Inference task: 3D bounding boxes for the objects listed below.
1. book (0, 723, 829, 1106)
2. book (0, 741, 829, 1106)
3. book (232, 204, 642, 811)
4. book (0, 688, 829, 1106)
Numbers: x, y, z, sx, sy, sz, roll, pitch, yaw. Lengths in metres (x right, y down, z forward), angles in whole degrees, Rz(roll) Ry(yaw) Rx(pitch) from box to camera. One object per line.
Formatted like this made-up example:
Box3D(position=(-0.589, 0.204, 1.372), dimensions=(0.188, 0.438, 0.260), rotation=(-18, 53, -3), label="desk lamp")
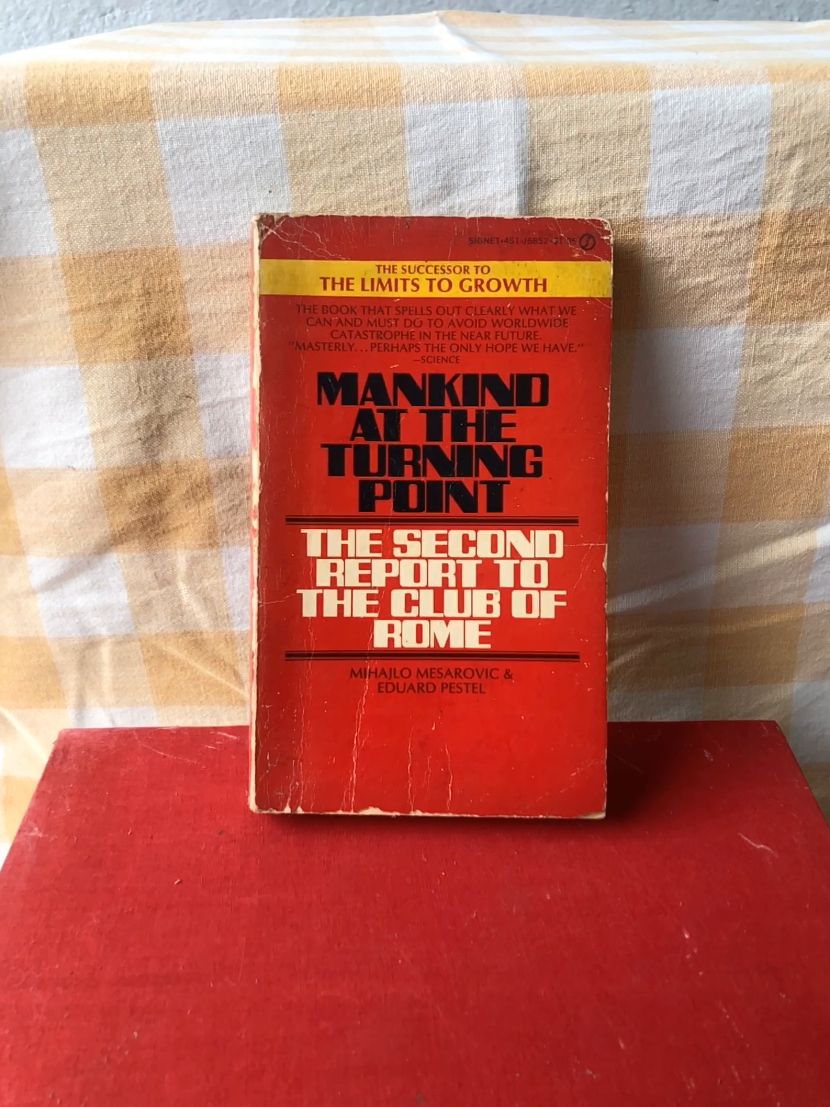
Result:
Box3D(position=(-0.005, 0.142, 0.298), dimensions=(0.270, 0.040, 0.191), rotation=(-3, 33, 2), label="book")
Box3D(position=(-0.002, 0.146, 0.285), dimensions=(0.240, 0.040, 0.191), rotation=(-3, 33, 2), label="book")
Box3D(position=(0.006, -0.012, 0.278), dimensions=(0.110, 0.170, 0.040), rotation=(0, 8, 0), label="book")
Box3D(position=(-0.001, 0.129, 0.301), dimensions=(0.280, 0.040, 0.191), rotation=(-3, 33, 2), label="book")
